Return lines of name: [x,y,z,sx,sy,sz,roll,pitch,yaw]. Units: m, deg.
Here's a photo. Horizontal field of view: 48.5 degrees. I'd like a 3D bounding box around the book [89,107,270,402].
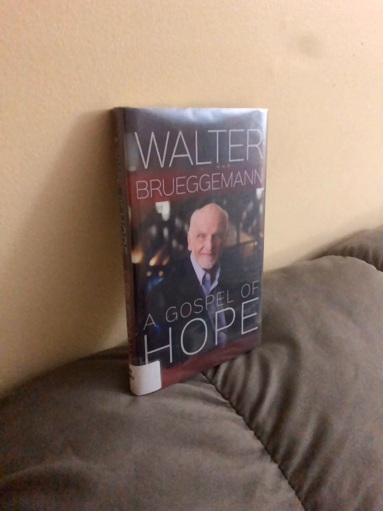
book: [0.002,-0.007,0.342,0.141,0.210,0.027,-14,19,-32]
